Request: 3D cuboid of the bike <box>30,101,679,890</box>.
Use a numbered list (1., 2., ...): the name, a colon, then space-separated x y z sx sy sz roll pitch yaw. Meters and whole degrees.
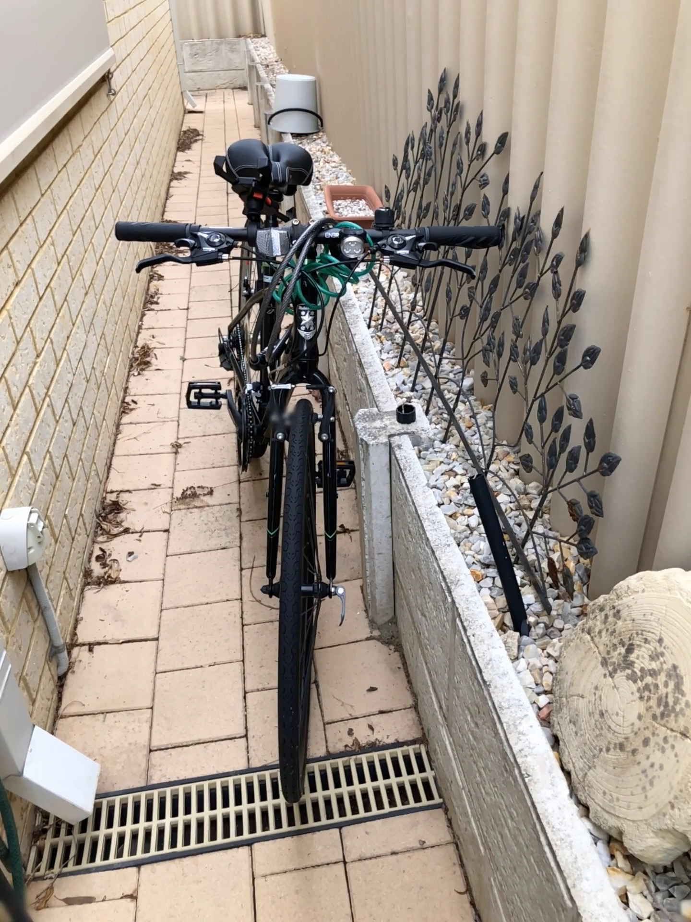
1. bike: -0.092 -0.190 1.681 0.637 0.859 1.708 -6 33 -6
